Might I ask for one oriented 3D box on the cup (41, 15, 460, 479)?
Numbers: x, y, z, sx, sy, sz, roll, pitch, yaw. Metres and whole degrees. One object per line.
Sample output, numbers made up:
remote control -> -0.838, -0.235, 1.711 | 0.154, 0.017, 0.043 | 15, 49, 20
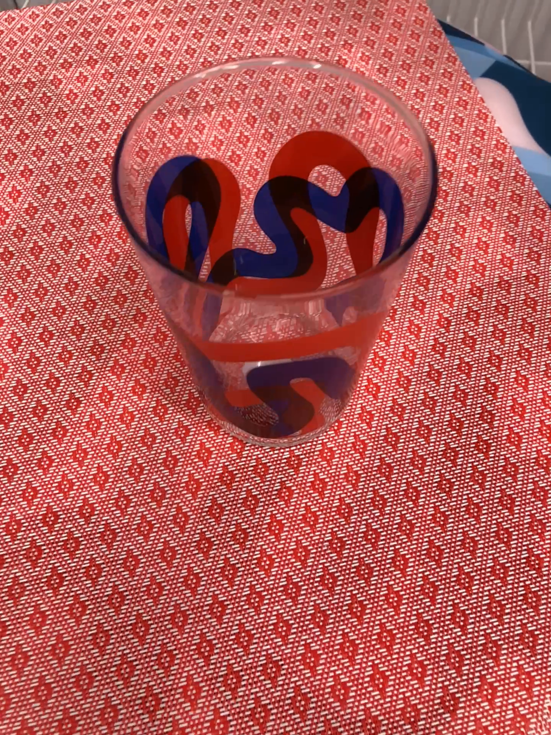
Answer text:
cup -> -0.001, -0.029, 0.205 | 0.090, 0.120, 0.090 | 0, 63, 0
